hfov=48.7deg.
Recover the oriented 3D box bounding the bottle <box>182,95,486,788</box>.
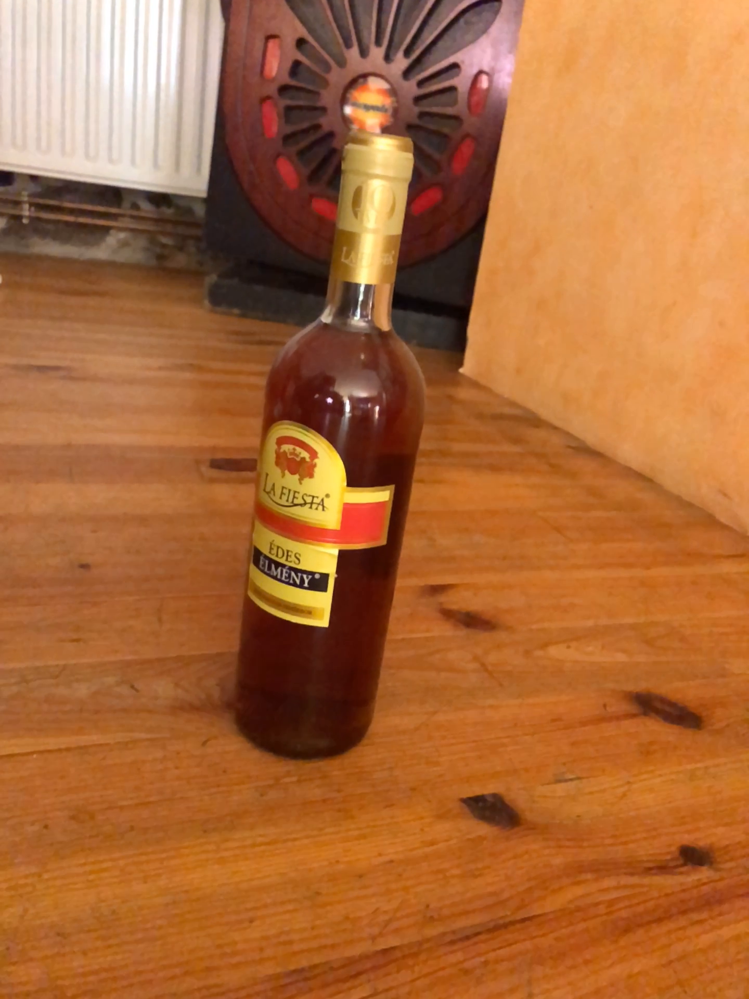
[{"bbox_3d":[-0.025,-0.021,0.387,0.080,0.289,0.080,7,20,-3],"label":"bottle"}]
